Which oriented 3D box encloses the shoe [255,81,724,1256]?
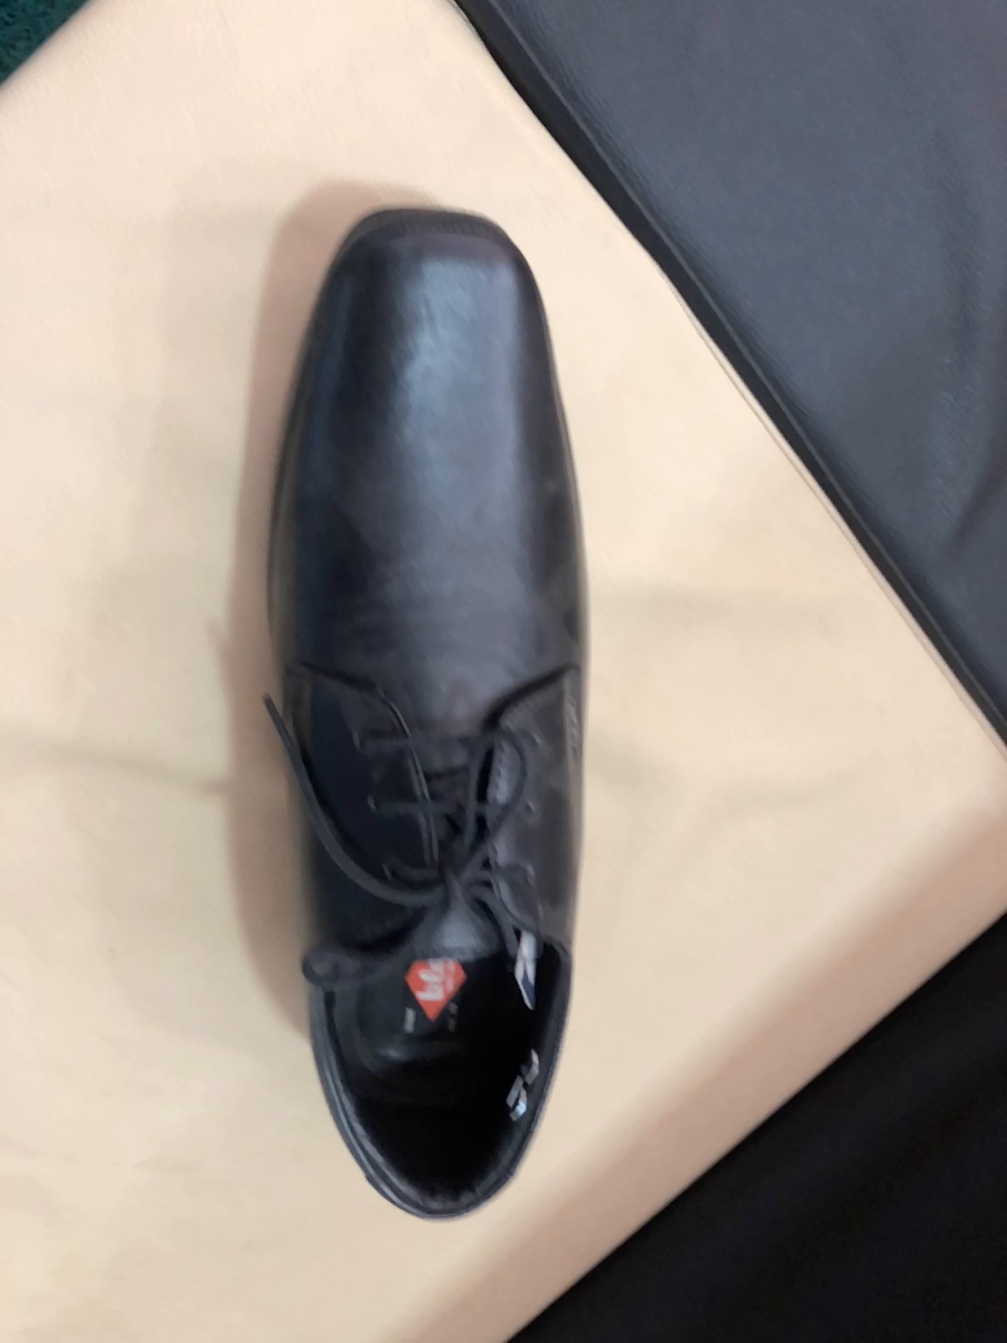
[{"bbox_3d":[-0.017,0.009,0.294,0.090,0.080,0.271,1,108,-12],"label":"shoe"}]
